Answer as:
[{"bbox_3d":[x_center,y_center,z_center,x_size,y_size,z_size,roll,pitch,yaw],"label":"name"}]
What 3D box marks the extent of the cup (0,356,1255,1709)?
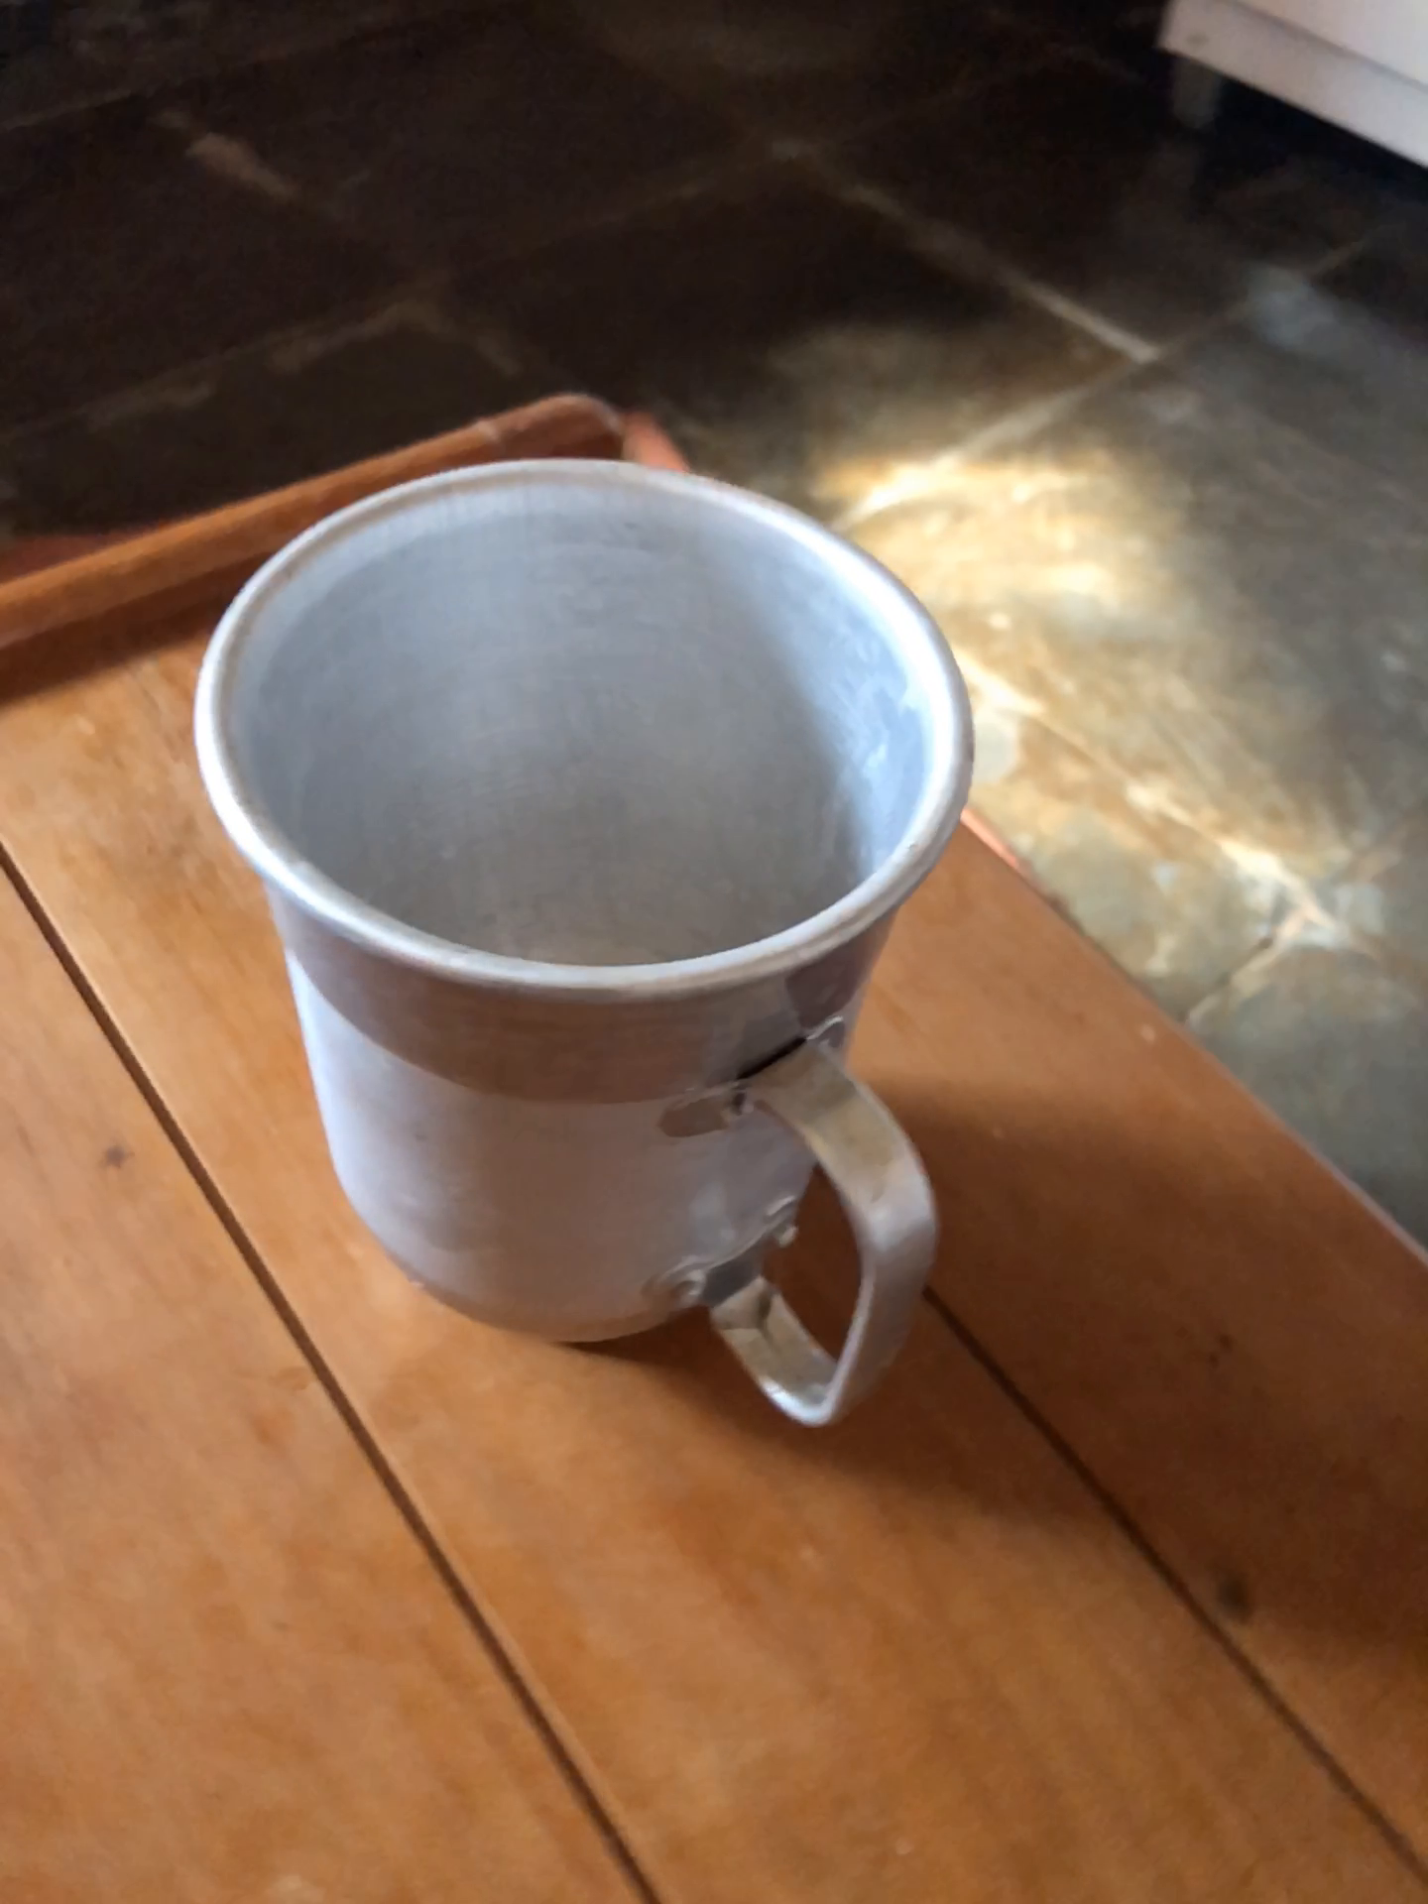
[{"bbox_3d":[-0.019,0.012,0.239,0.100,0.129,0.120,-27,58,-25],"label":"cup"}]
